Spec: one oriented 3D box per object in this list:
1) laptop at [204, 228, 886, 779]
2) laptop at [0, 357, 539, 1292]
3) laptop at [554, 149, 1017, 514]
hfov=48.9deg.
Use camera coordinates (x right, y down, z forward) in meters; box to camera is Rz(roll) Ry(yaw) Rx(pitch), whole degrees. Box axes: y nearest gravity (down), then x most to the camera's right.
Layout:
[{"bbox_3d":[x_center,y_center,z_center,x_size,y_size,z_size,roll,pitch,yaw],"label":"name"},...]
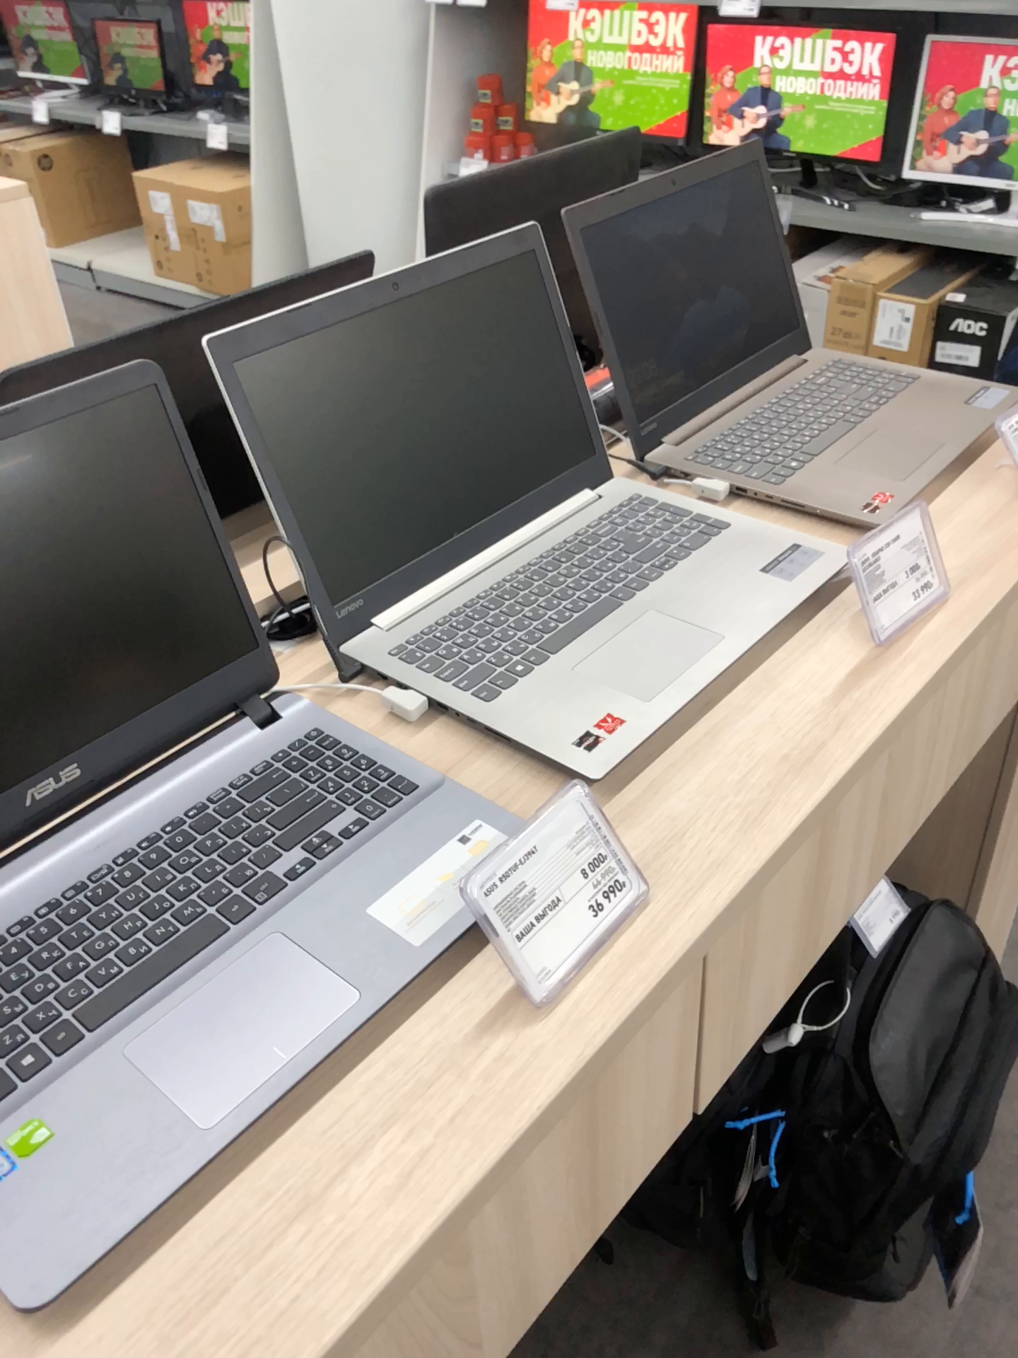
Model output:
[{"bbox_3d":[0.038,-0.170,0.862,0.336,0.220,0.366,24,43,33],"label":"laptop"},{"bbox_3d":[-0.205,0.023,0.590,0.319,0.232,0.327,25,43,34],"label":"laptop"},{"bbox_3d":[0.302,-0.366,1.117,0.327,0.222,0.358,22,42,31],"label":"laptop"}]
